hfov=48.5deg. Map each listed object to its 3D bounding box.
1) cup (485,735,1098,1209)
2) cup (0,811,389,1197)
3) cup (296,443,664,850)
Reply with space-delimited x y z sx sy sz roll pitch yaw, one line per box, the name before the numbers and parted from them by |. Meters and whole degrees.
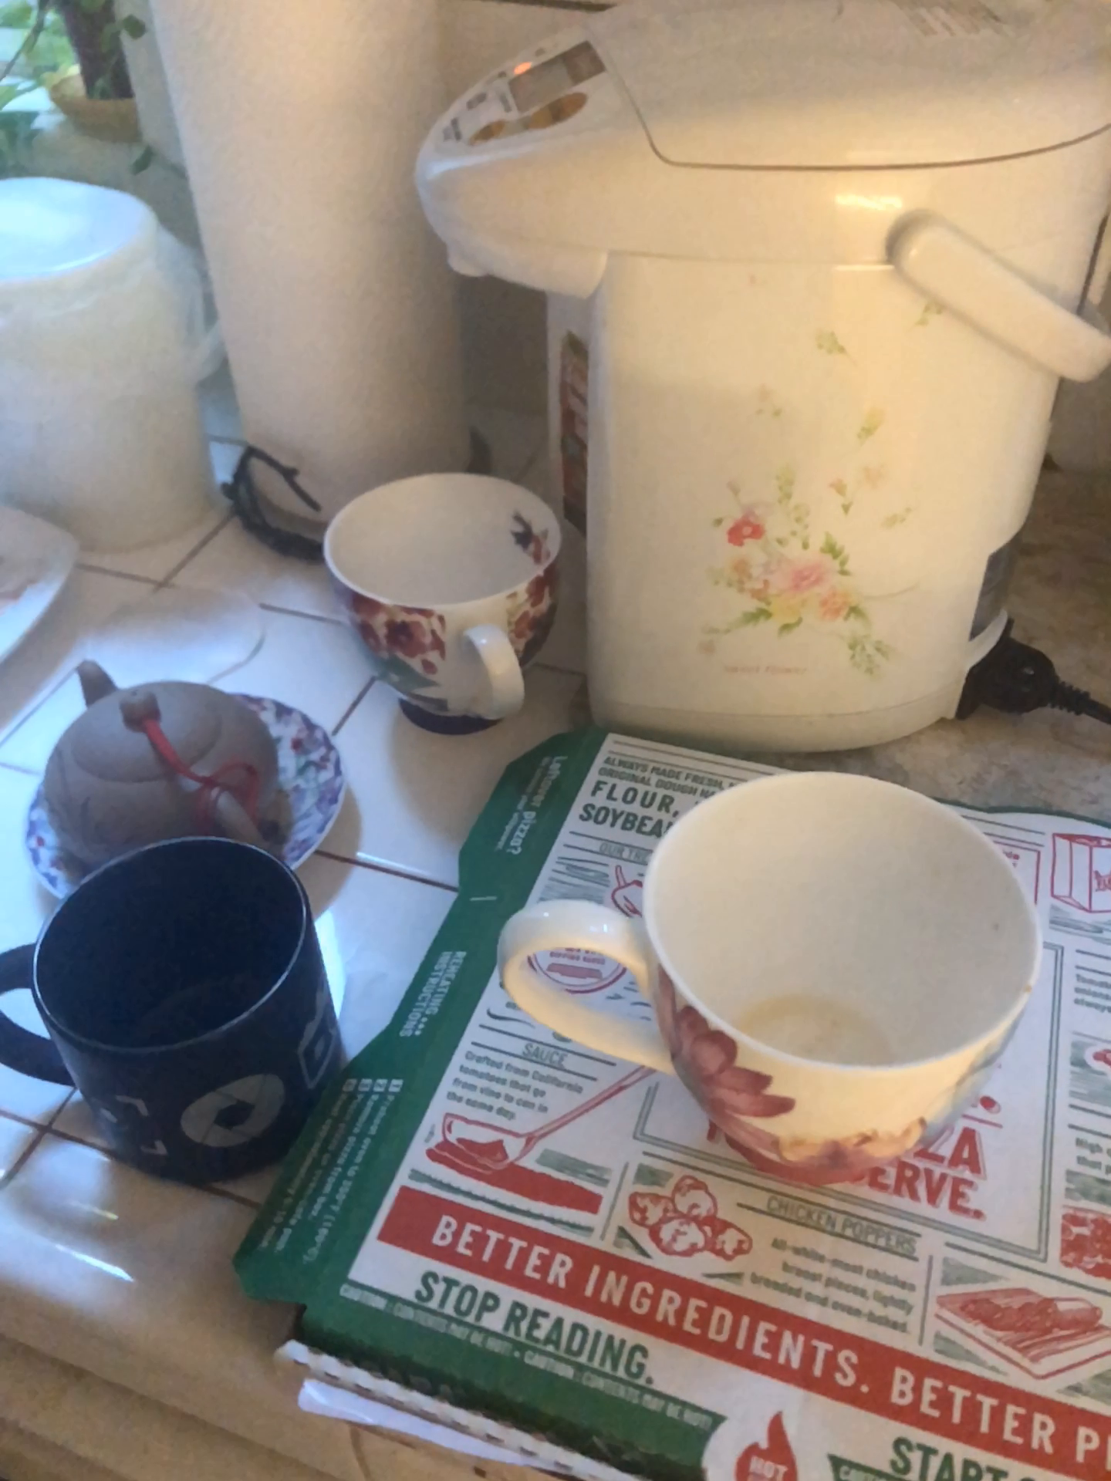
cup | 0.063 0.065 0.369 0.150 0.069 0.111 3 43 5
cup | -0.142 0.094 0.442 0.140 0.099 0.091 1 43 3
cup | -0.038 -0.051 0.580 0.110 0.089 0.161 -19 46 -18
